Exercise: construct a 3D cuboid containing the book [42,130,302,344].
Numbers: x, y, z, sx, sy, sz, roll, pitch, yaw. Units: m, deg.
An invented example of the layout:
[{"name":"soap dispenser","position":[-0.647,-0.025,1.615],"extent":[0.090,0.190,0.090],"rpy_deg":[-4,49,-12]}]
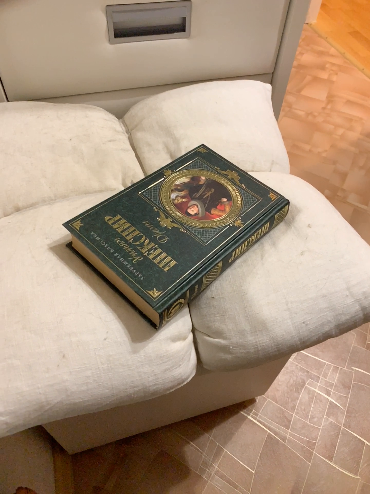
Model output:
[{"name":"book","position":[-0.004,-0.031,0.394],"extent":[0.150,0.040,0.221],"rpy_deg":[38,55,21]}]
